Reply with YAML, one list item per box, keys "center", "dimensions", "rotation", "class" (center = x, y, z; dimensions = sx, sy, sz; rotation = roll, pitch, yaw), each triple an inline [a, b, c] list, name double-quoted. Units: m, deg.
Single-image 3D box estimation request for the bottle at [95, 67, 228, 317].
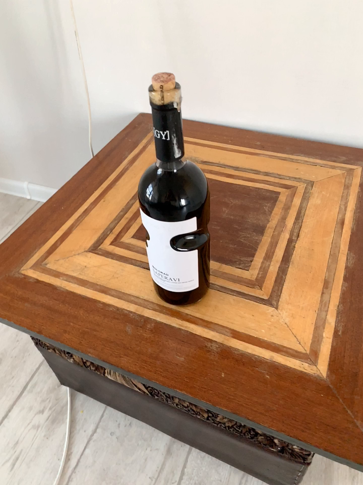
- center: [-0.008, -0.042, 0.430]
  dimensions: [0.090, 0.269, 0.090]
  rotation: [-2, 44, 2]
  class: "bottle"
